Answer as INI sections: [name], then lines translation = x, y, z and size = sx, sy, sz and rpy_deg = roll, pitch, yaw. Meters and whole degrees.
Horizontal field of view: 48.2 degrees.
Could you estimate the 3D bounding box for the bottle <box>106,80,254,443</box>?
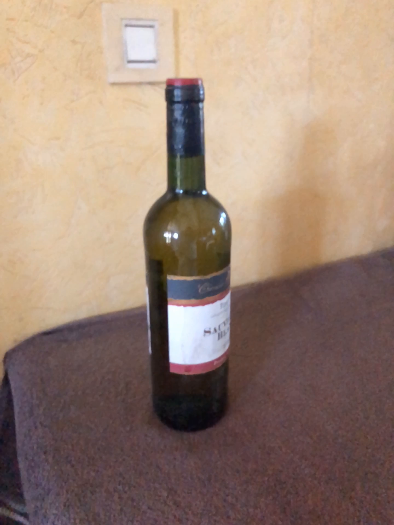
[bottle]
translation = -0.006, 0.002, 0.374
size = 0.080, 0.289, 0.080
rpy_deg = -1, 22, 0
